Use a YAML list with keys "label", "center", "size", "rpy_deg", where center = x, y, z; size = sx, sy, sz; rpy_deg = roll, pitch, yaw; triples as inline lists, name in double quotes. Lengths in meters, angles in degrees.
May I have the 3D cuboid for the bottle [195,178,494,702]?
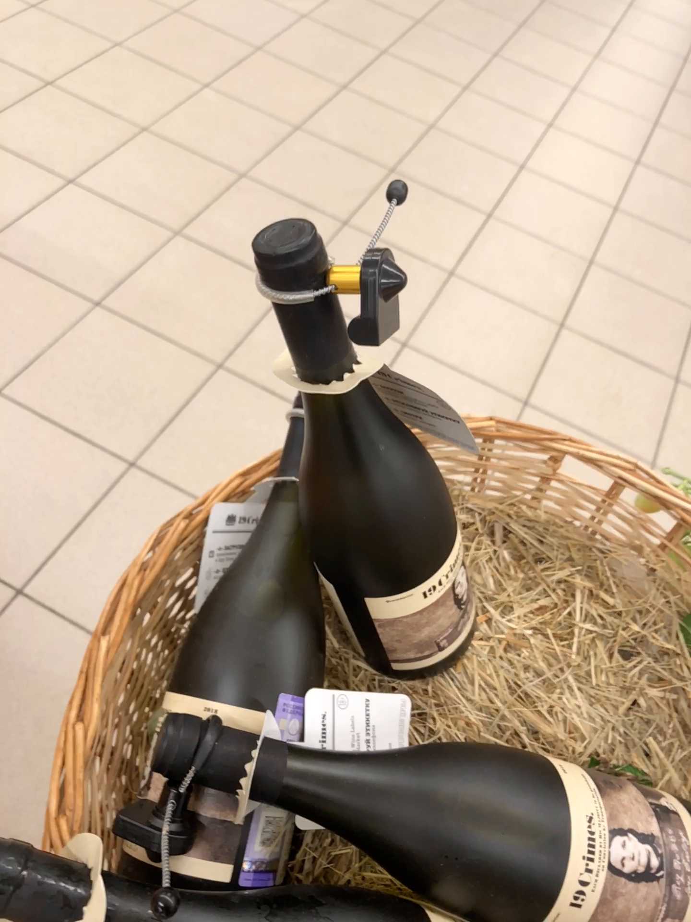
- label: "bottle"
  center: [0.022, 0.010, 0.402]
  size: [0.080, 0.289, 0.090]
  rpy_deg: [9, 50, 21]
